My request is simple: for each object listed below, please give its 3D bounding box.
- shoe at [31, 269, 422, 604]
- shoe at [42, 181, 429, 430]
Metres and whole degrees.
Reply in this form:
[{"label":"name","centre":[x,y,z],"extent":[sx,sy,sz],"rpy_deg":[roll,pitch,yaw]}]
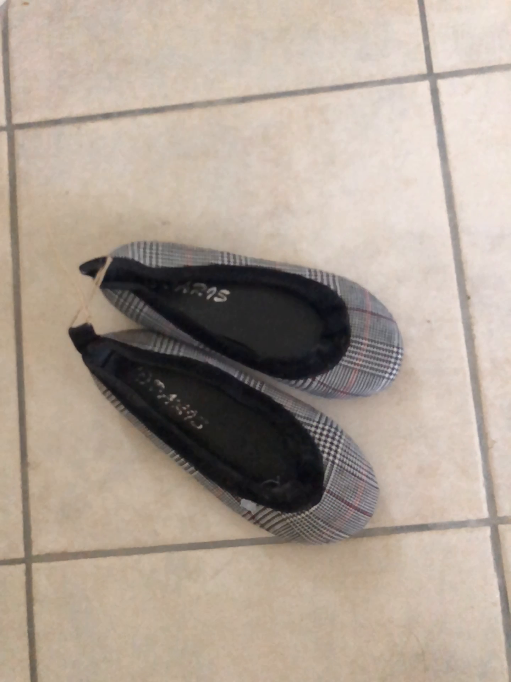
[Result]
[{"label":"shoe","centre":[-0.018,0.055,0.362],"extent":[0.210,0.070,0.090],"rpy_deg":[32,86,7]},{"label":"shoe","centre":[-0.012,-0.020,0.369],"extent":[0.210,0.070,0.090],"rpy_deg":[17,84,6]}]
